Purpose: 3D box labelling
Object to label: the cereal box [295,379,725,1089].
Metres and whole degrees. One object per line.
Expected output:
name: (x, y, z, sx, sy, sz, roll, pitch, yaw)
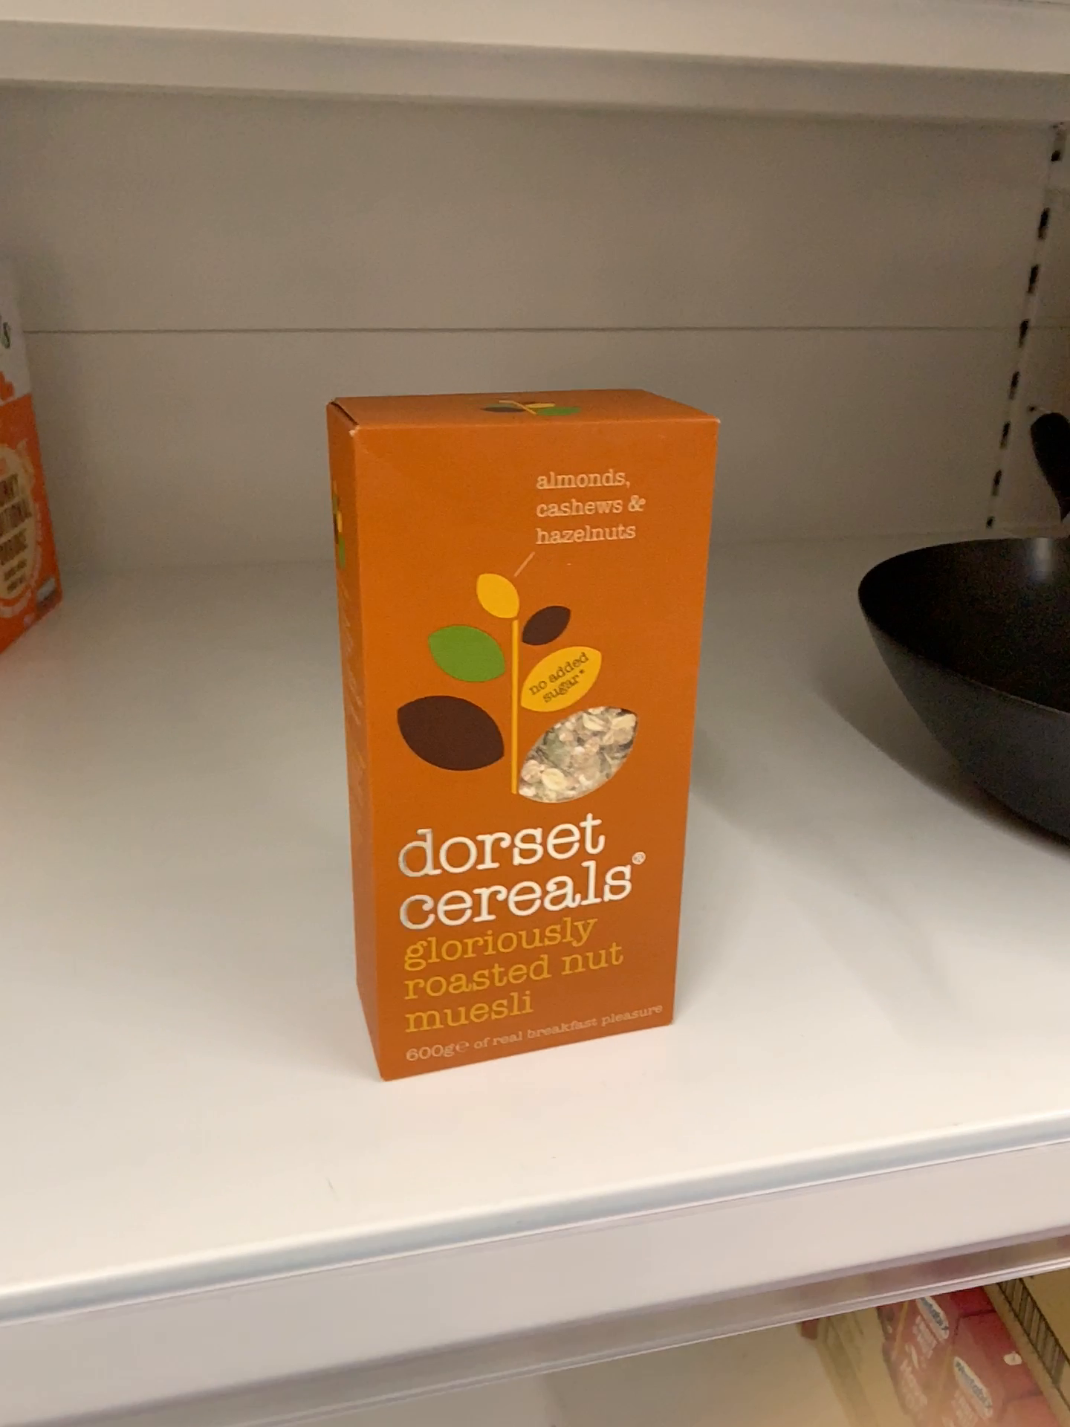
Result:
cereal box: (-0.012, 0.008, 0.384, 0.120, 0.228, 0.060, -6, 24, -17)
